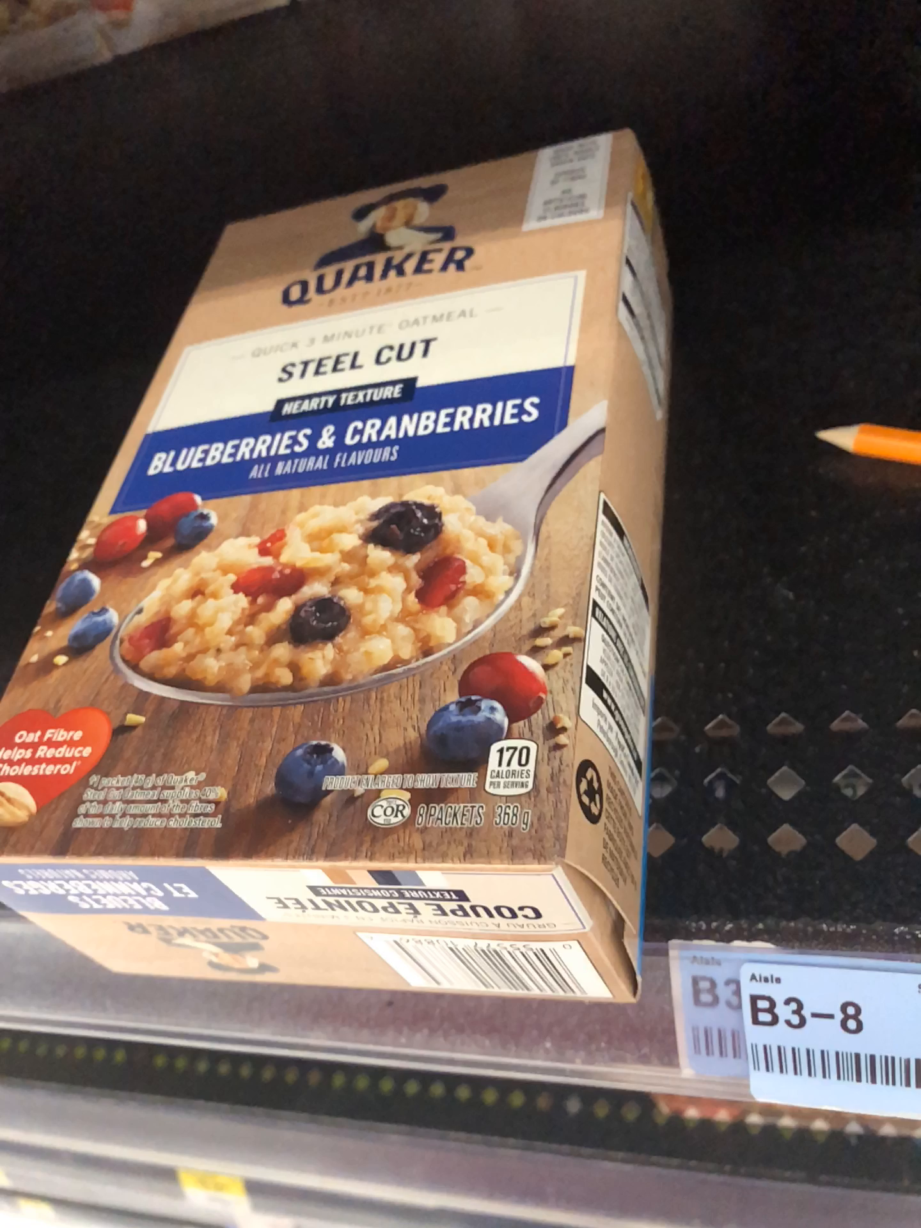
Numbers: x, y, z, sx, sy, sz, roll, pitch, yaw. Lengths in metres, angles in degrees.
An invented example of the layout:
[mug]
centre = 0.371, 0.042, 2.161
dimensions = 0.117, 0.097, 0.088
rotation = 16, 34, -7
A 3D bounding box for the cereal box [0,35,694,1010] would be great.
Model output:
[cereal box]
centre = -0.016, -0.038, 0.258
dimensions = 0.130, 0.060, 0.240
rotation = -5, 52, 21
